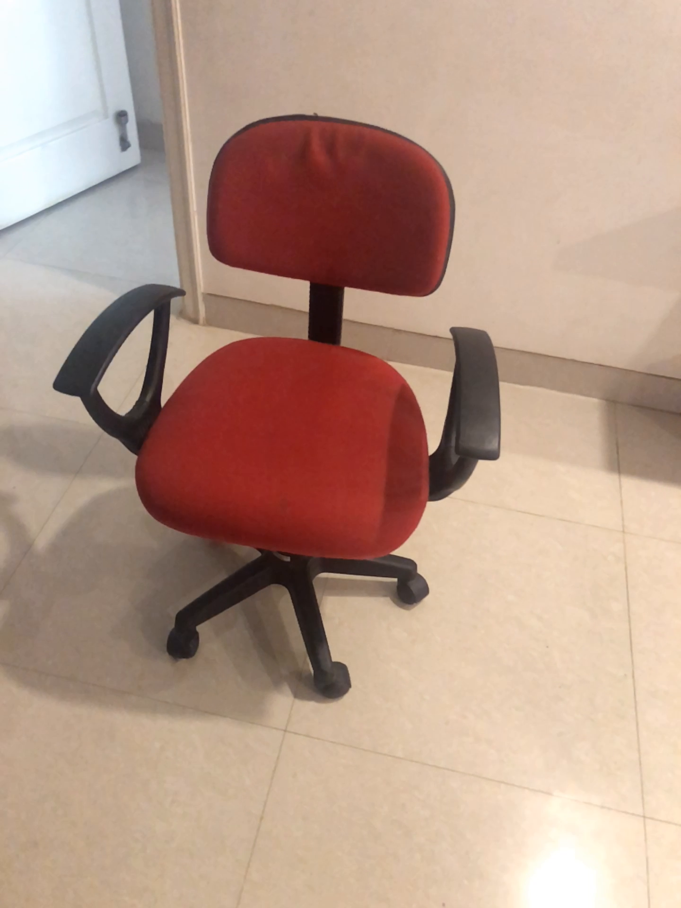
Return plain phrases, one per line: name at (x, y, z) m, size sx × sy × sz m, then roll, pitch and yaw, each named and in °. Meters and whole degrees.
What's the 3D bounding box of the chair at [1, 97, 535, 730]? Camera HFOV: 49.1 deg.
chair at (-0.046, -0.056, 1.201) m, size 0.540 × 0.725 × 0.604 m, roll 10°, pitch 46°, yaw 5°
